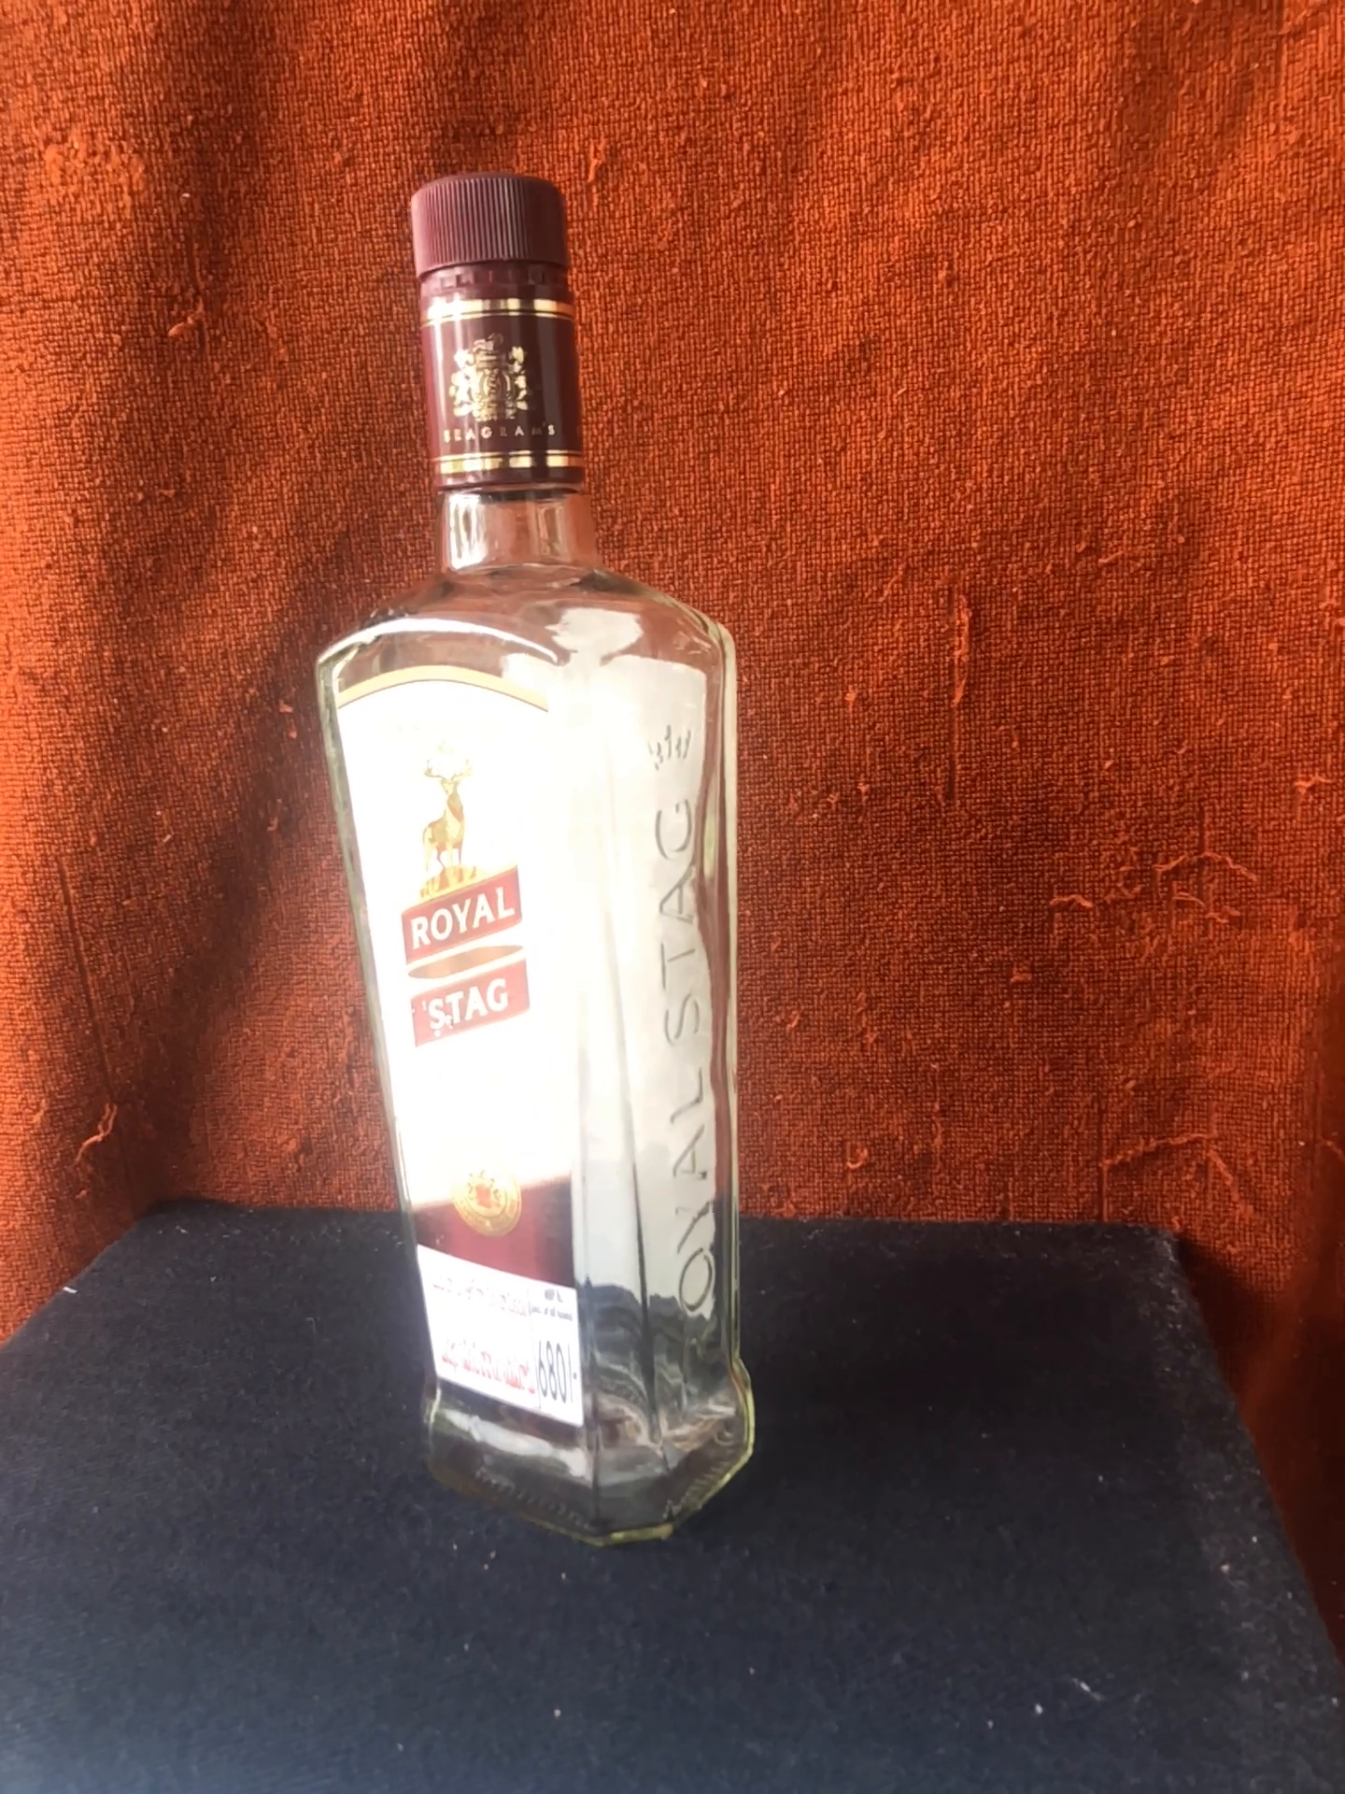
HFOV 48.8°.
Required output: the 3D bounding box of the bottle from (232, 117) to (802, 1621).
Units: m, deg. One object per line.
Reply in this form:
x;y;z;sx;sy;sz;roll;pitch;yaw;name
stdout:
-0.027;0.001;0.325;0.090;0.289;0.060;7;16;30;bottle
